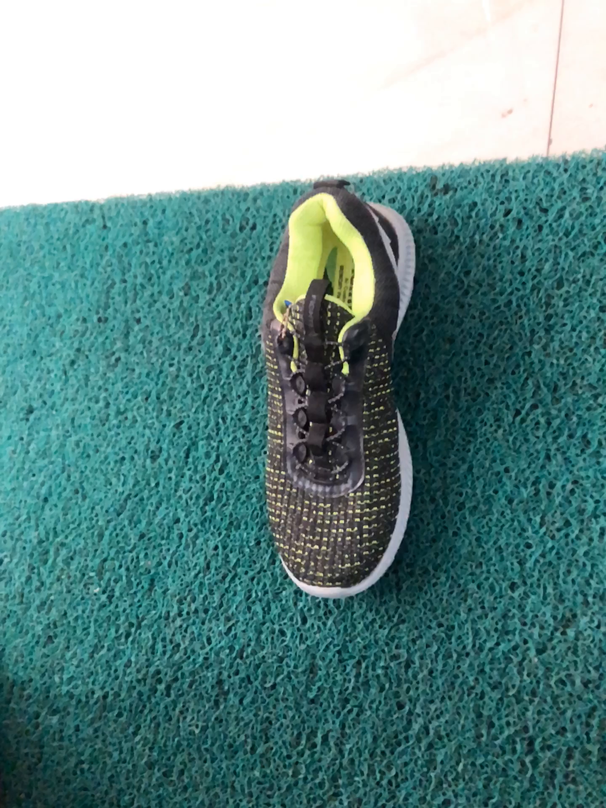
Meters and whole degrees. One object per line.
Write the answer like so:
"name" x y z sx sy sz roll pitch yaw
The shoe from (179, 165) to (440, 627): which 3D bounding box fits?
"shoe" 0.014 -0.005 0.439 0.110 0.090 0.270 2 76 25
